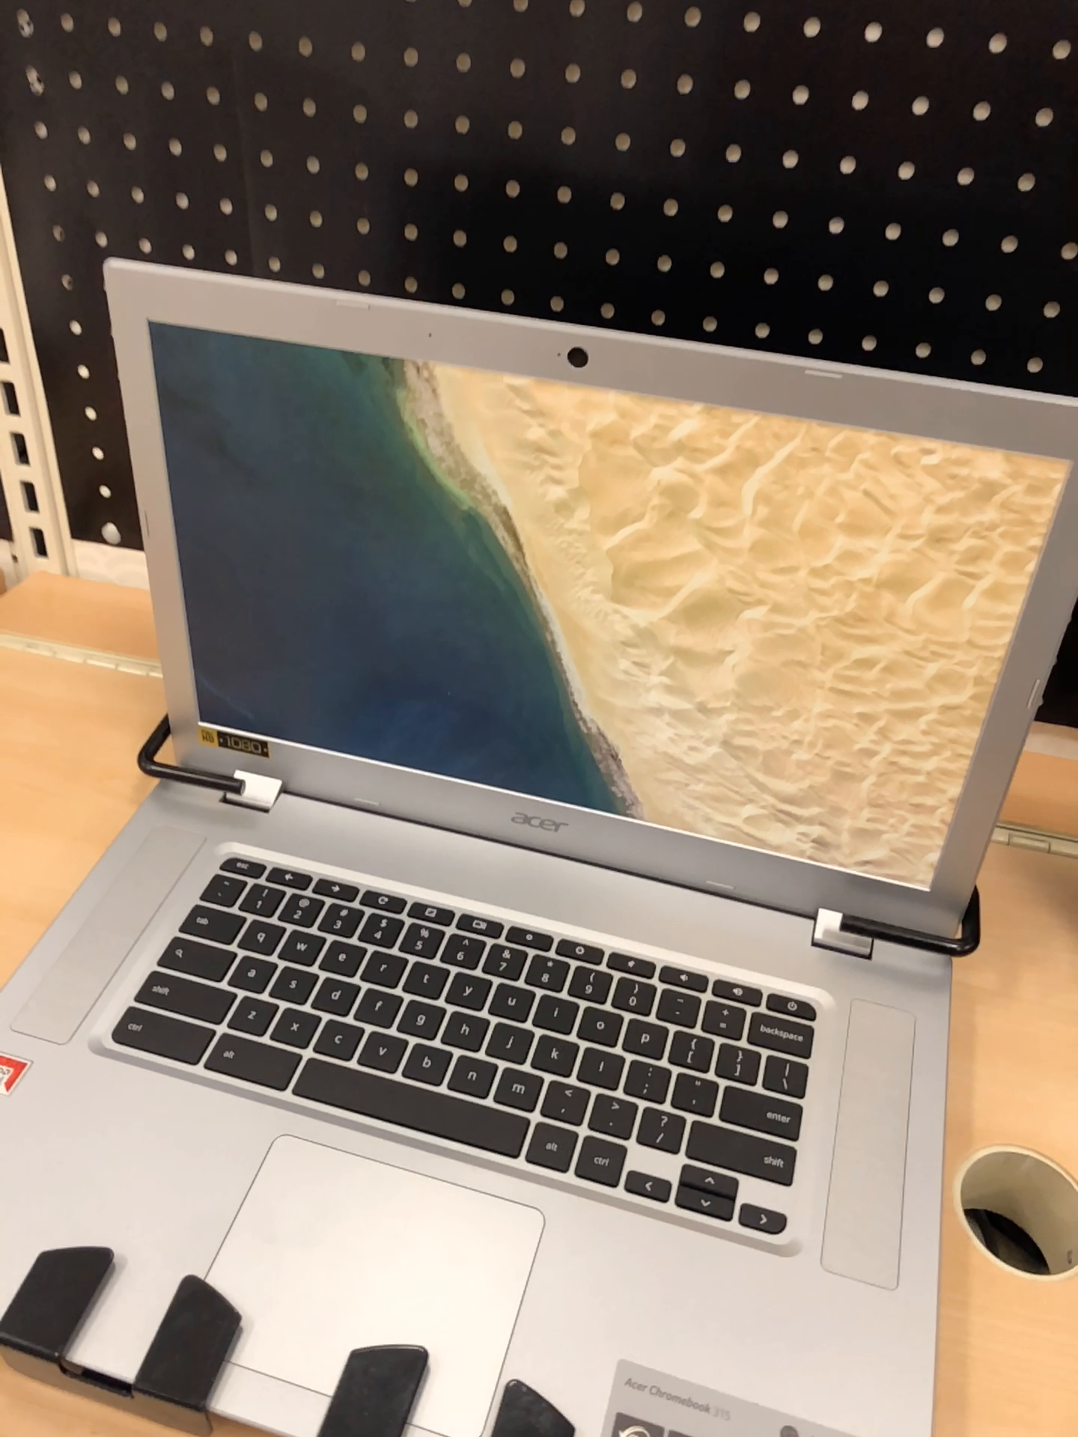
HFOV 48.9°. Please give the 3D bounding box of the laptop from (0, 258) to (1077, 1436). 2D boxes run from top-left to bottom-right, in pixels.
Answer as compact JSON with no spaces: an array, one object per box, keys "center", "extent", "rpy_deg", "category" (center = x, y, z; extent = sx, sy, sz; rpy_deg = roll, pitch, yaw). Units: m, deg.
[{"center":[-0.025,0.038,0.408],"extent":[0.371,0.246,0.287],"rpy_deg":[12,38,12],"category":"laptop"}]
